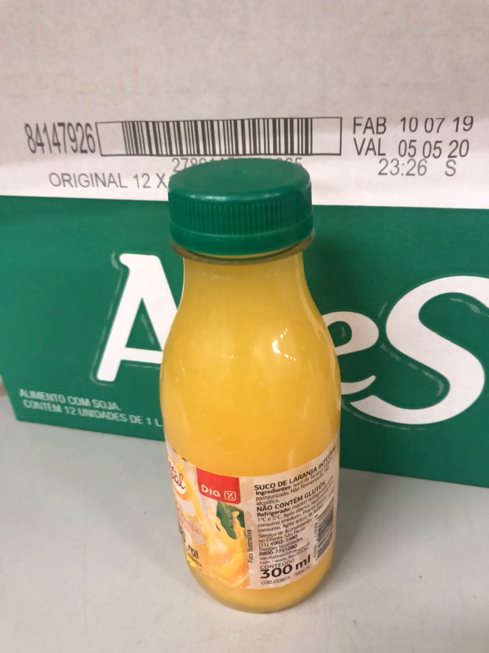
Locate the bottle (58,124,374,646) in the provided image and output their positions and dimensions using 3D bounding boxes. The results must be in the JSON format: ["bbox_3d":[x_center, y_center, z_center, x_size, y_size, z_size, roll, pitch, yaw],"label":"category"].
[{"bbox_3d":[-0.005,0.021,0.195,0.060,0.159,0.070,-24,35,-30],"label":"bottle"}]
